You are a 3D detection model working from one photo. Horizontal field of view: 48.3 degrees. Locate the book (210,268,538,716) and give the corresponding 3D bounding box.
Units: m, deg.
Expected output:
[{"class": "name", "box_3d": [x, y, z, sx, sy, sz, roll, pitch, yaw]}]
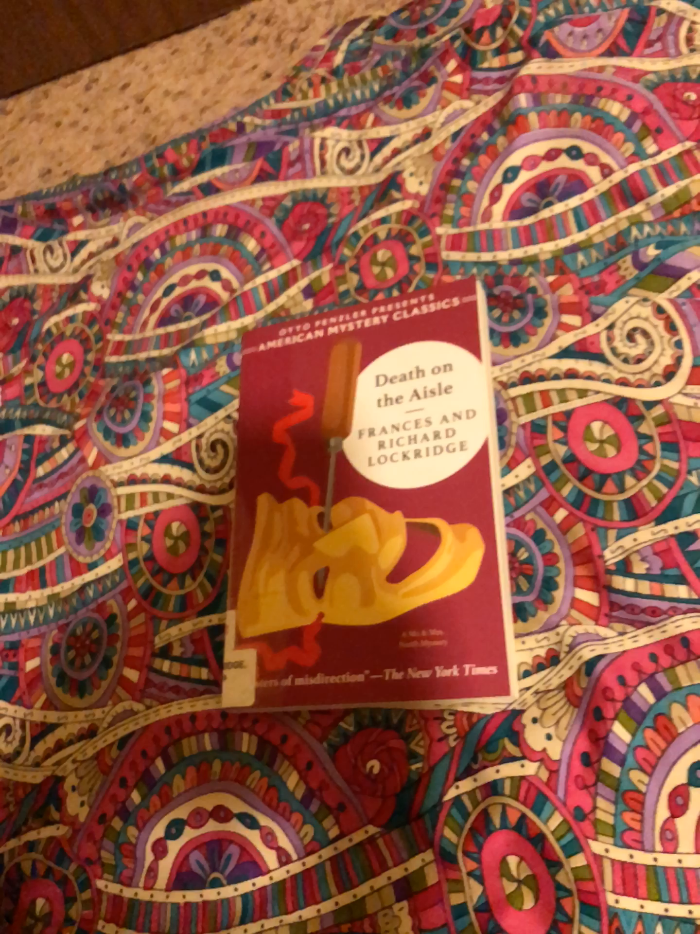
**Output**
[{"class": "book", "box_3d": [0.007, 0.011, 0.365, 0.137, 0.024, 0.196, -9, 66, 19]}]
